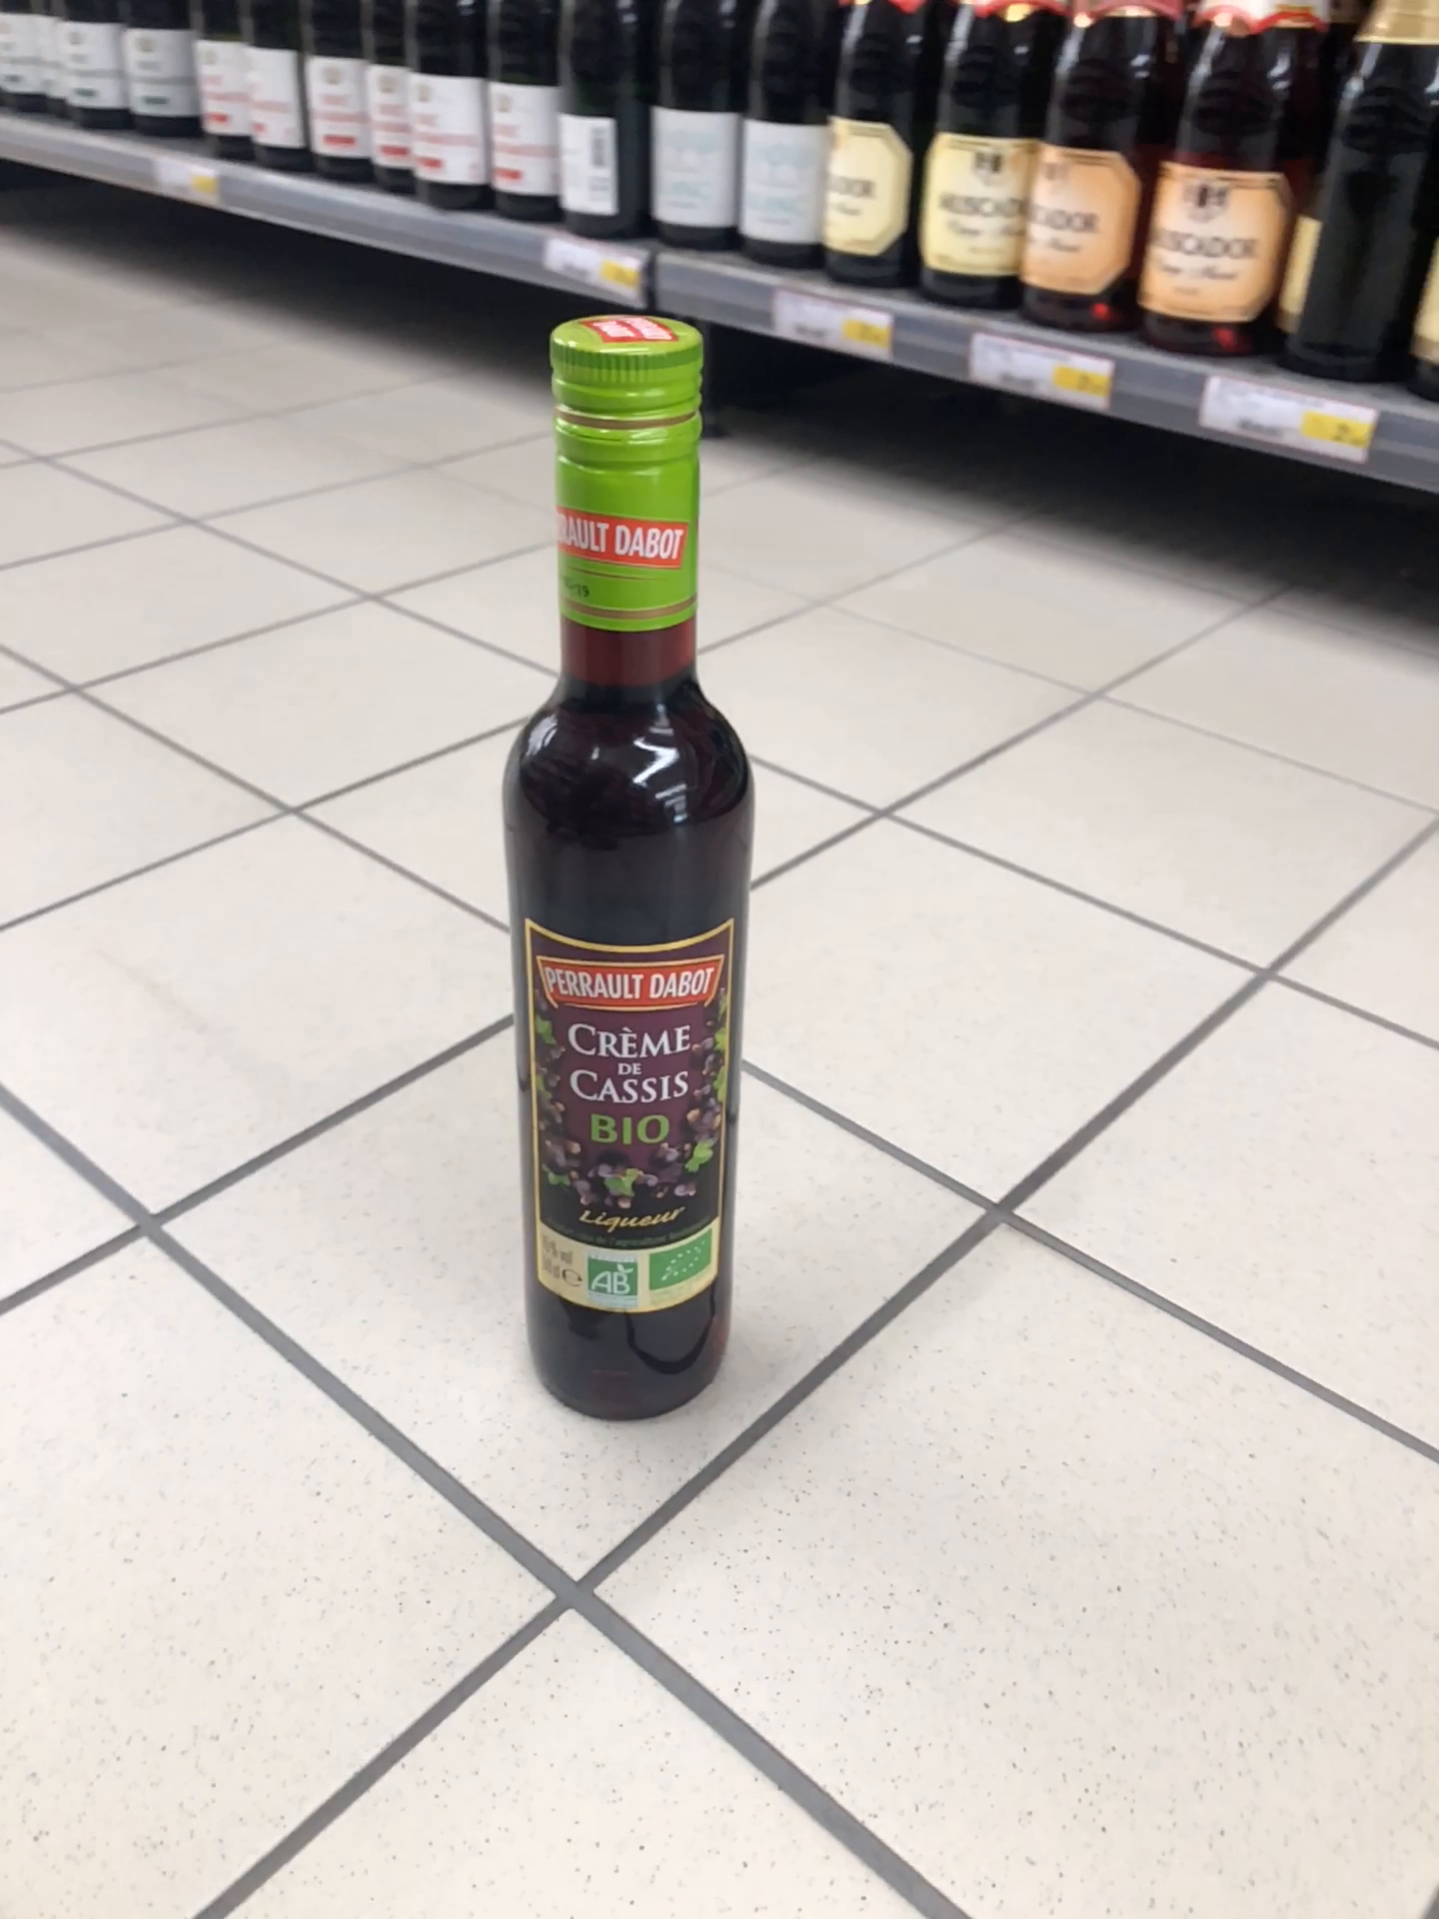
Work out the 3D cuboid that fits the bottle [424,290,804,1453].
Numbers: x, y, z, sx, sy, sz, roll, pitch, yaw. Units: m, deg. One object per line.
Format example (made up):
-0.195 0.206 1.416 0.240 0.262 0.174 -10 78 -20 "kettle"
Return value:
-0.028 -0.006 0.398 0.070 0.288 0.070 1 32 -1 "bottle"
